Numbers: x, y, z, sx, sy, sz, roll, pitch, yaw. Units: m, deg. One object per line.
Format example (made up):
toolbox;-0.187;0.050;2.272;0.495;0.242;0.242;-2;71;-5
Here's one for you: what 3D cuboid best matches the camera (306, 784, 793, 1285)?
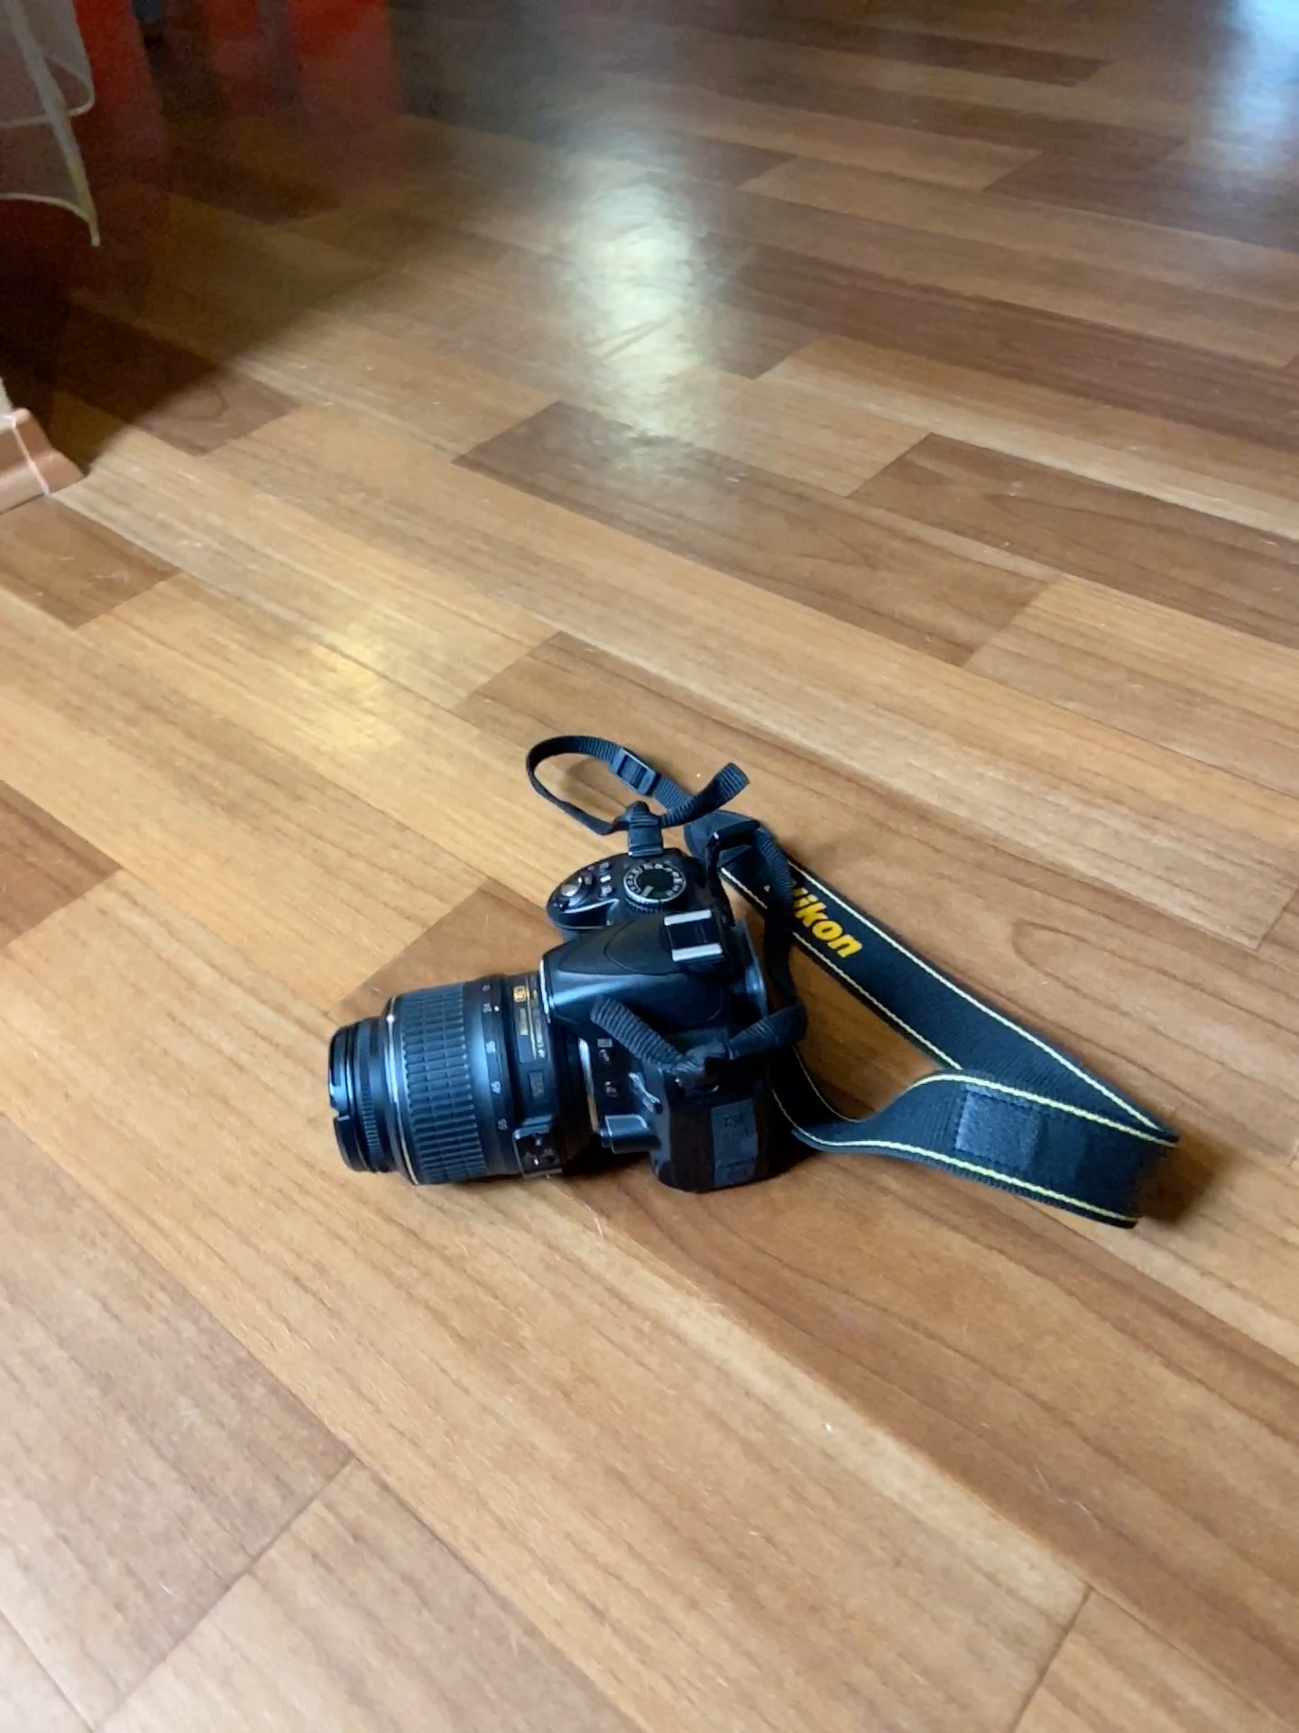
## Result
camera;-0.037;0.060;0.494;0.153;0.100;0.121;-11;45;-6
